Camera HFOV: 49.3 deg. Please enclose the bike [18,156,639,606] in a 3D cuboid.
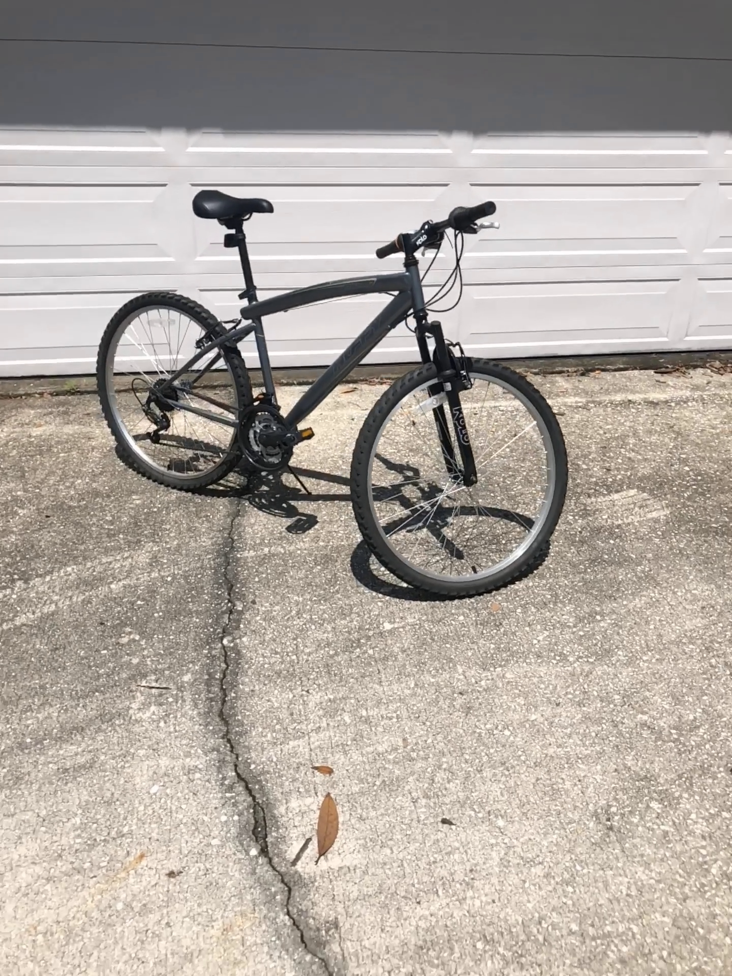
[{"bbox_3d":[-0.093,-0.410,2.547,1.531,0.980,0.682,14,30,17],"label":"bike"}]
